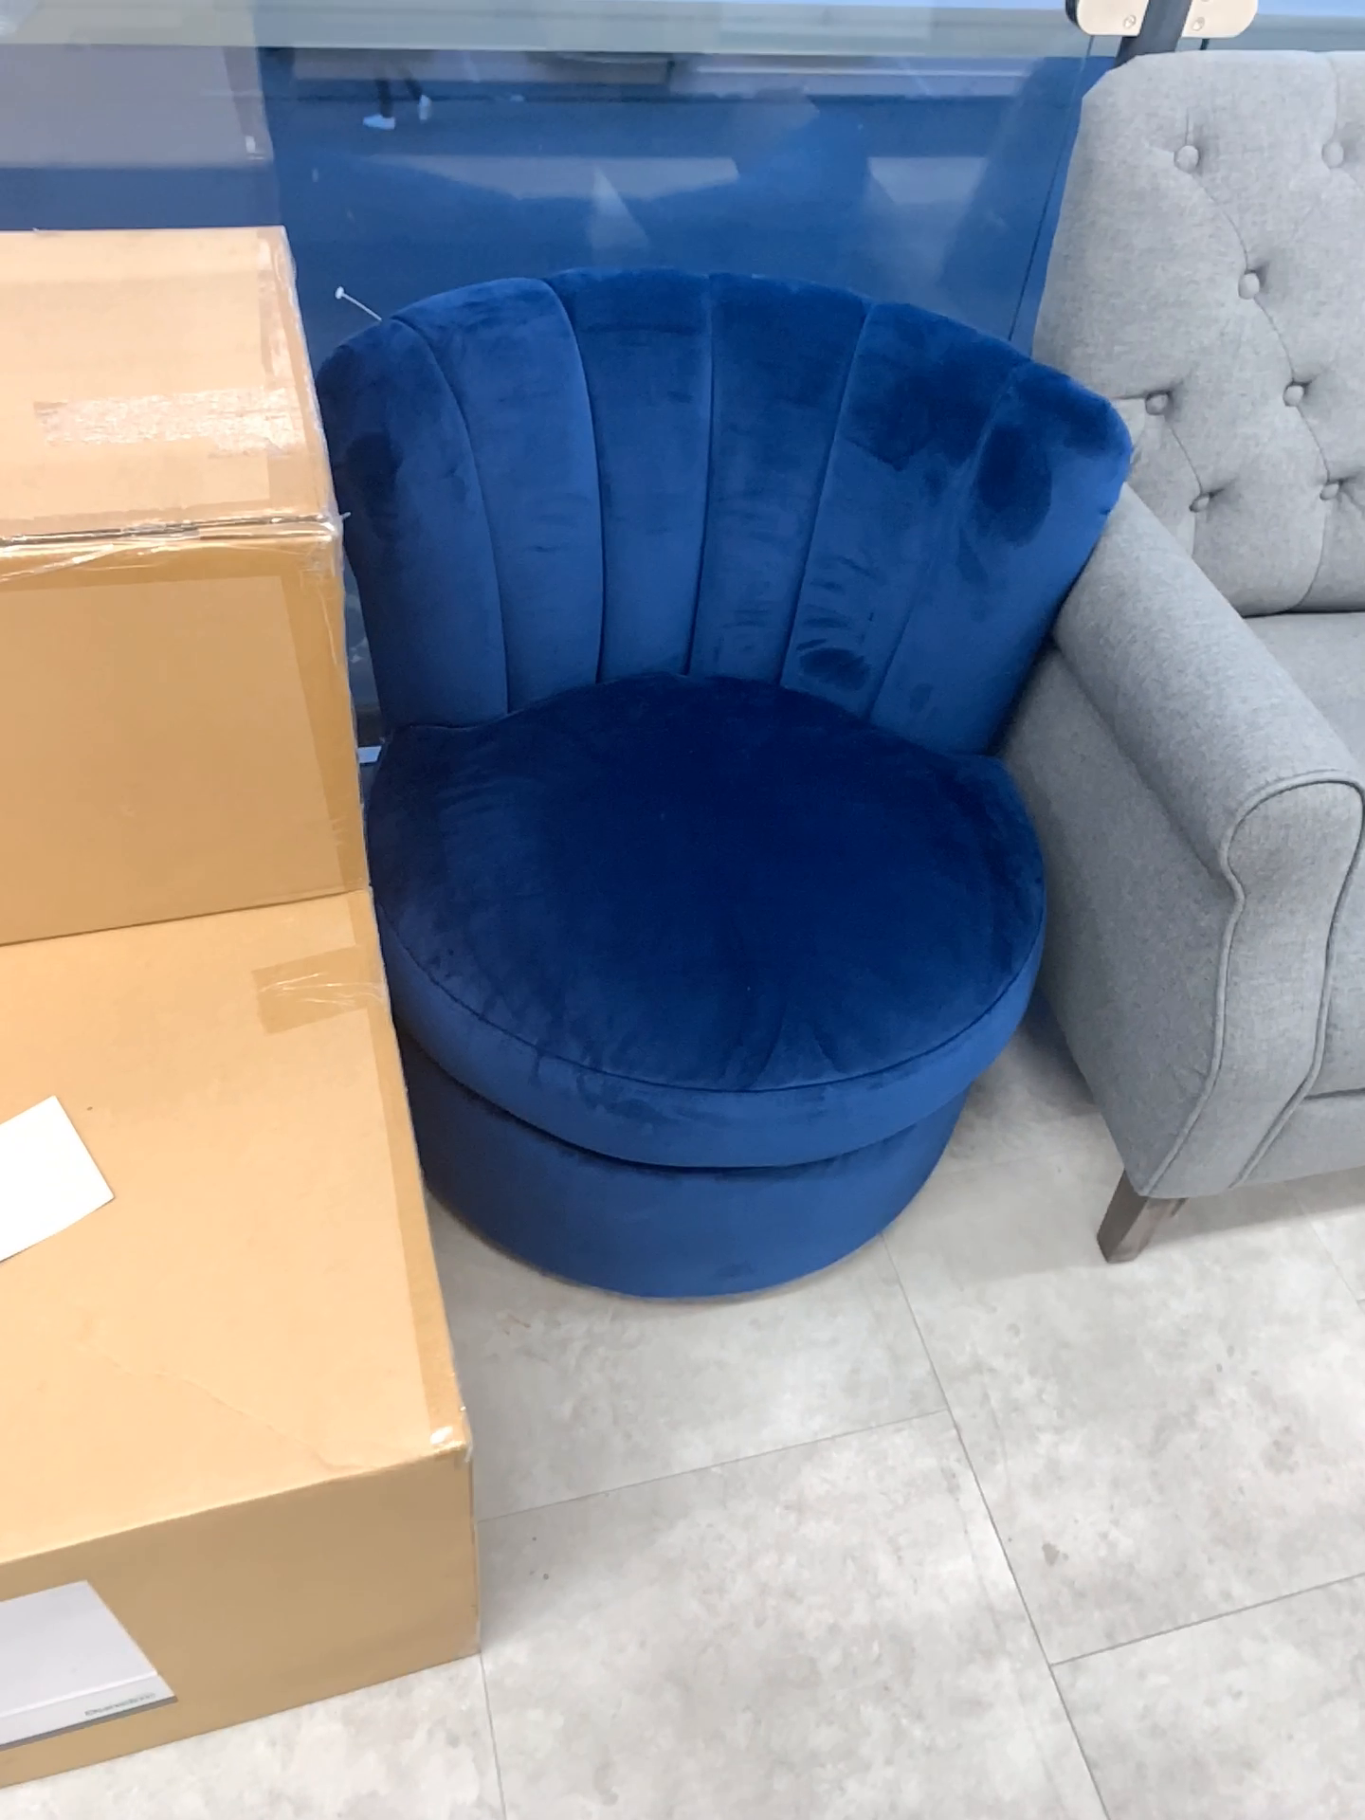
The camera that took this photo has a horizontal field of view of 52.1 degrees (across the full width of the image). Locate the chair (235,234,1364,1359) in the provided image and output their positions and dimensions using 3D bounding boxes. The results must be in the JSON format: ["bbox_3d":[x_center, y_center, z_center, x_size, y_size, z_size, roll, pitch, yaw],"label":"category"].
[{"bbox_3d":[0.018,-0.094,1.227,0.640,0.674,0.666,-2,48,-8],"label":"chair"}]
